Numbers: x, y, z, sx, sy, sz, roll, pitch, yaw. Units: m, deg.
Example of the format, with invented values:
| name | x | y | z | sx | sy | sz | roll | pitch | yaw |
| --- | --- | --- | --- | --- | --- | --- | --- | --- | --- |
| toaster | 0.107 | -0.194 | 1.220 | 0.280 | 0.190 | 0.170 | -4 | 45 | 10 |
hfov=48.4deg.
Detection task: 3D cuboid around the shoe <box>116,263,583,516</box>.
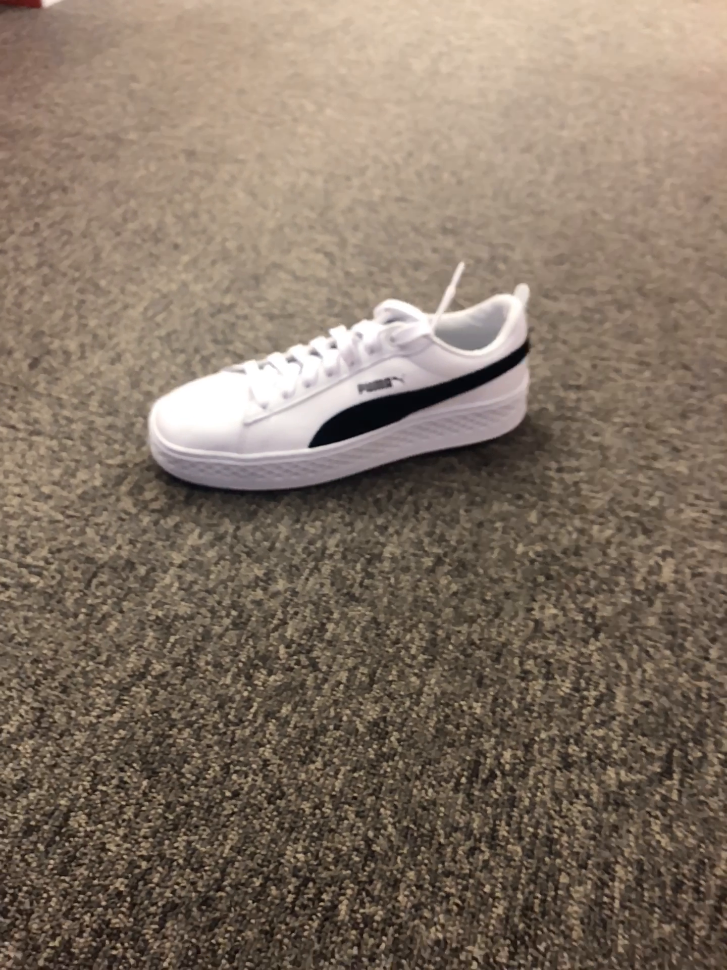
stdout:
| name | x | y | z | sx | sy | sz | roll | pitch | yaw |
| --- | --- | --- | --- | --- | --- | --- | --- | --- | --- |
| shoe | -0.013 | -0.072 | 0.563 | 0.290 | 0.089 | 0.110 | -9 | 44 | -10 |
